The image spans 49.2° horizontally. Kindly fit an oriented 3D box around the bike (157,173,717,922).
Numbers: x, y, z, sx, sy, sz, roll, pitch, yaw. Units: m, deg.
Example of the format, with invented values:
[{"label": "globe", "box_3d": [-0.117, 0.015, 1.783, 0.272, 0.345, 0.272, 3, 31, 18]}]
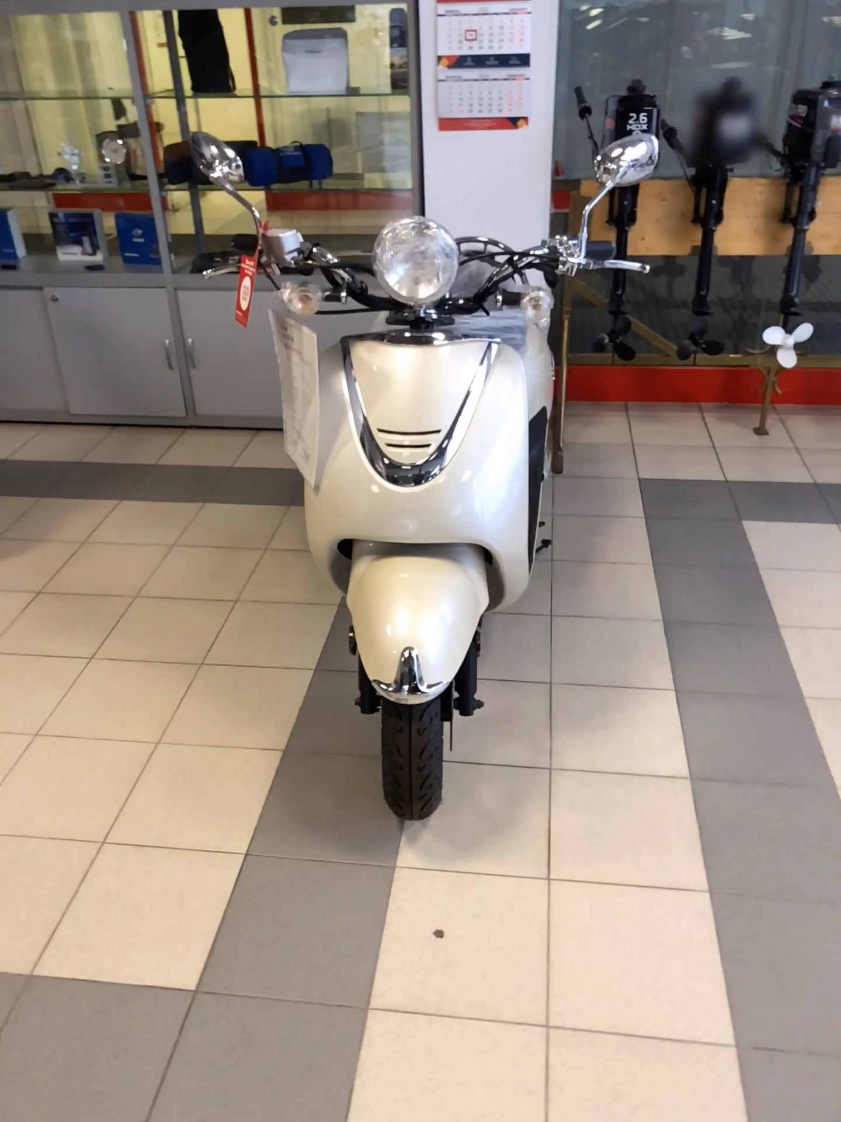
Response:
[{"label": "bike", "box_3d": [0.122, -0.249, 2.232, 0.804, 0.963, 1.692, 3, 33, 8]}]
